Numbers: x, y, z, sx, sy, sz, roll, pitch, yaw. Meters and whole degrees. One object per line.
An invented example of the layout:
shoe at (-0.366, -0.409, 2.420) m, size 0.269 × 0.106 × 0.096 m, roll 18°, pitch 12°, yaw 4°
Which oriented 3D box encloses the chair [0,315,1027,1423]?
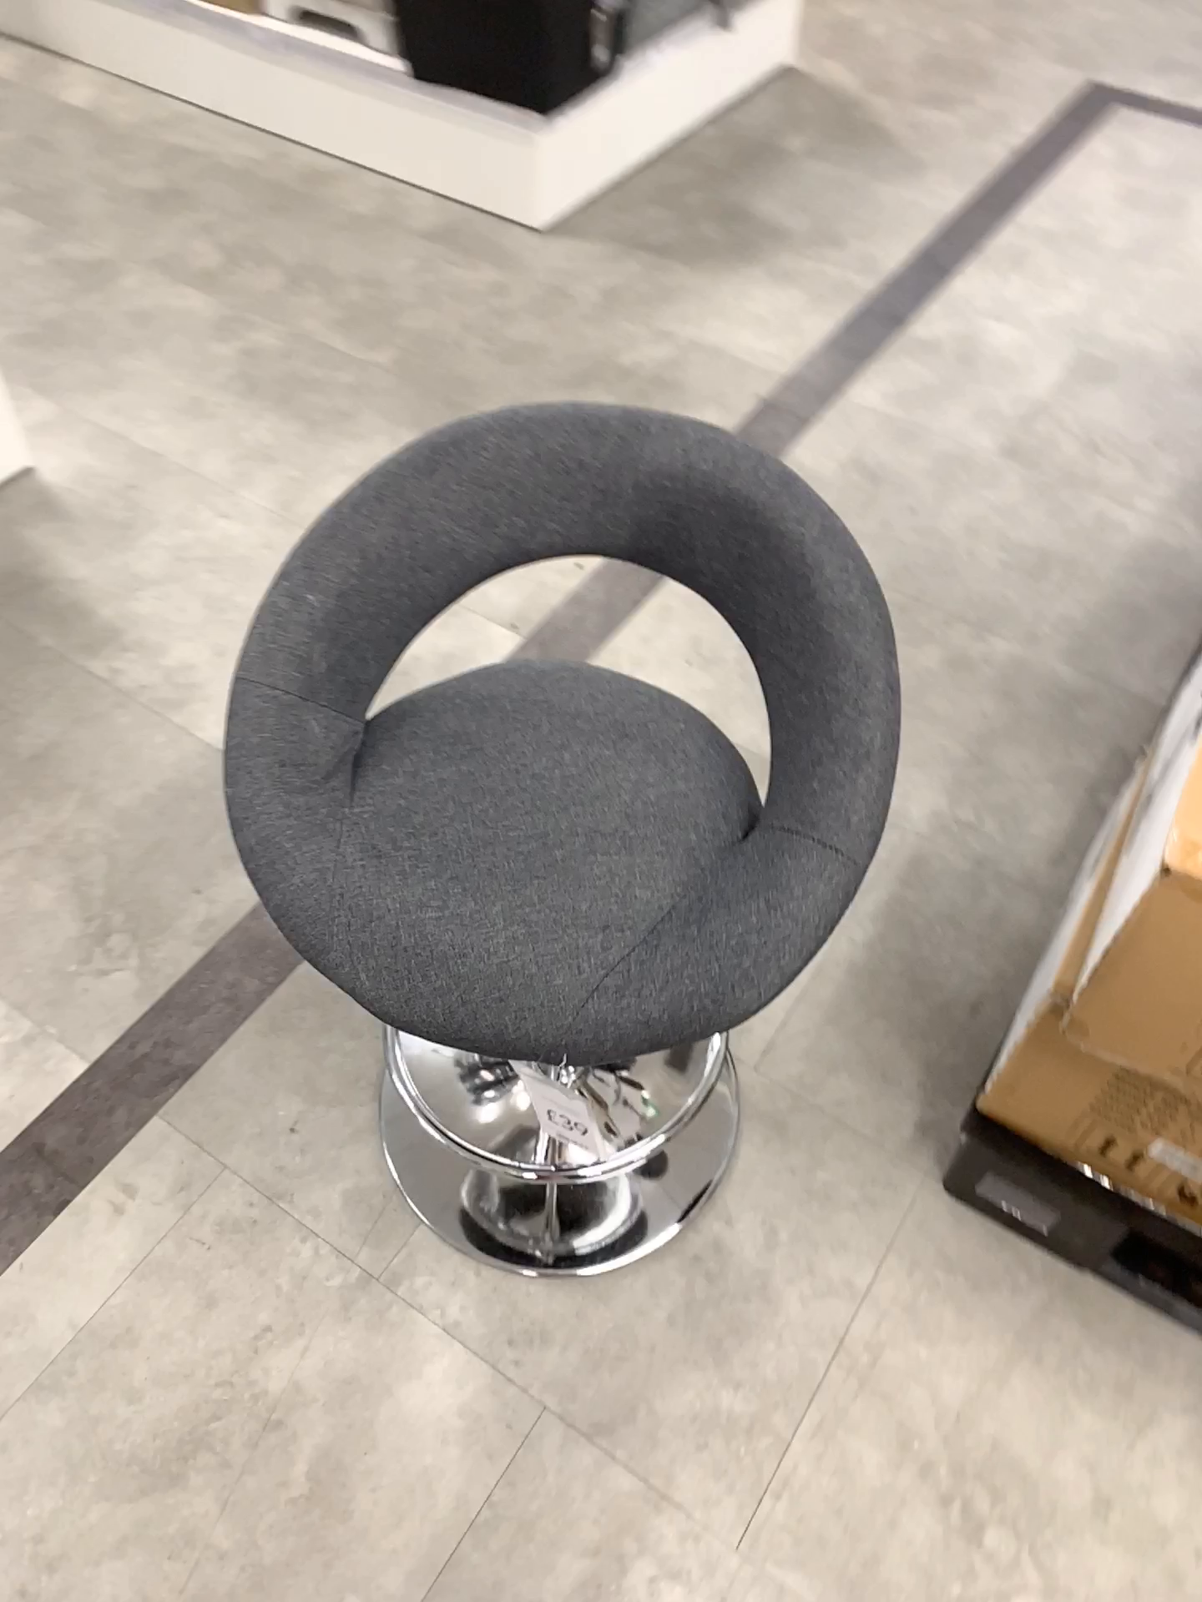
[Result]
chair at (-0.058, 0.105, 1.135) m, size 0.547 × 0.789 × 0.488 m, roll 23°, pitch 54°, yaw 16°
